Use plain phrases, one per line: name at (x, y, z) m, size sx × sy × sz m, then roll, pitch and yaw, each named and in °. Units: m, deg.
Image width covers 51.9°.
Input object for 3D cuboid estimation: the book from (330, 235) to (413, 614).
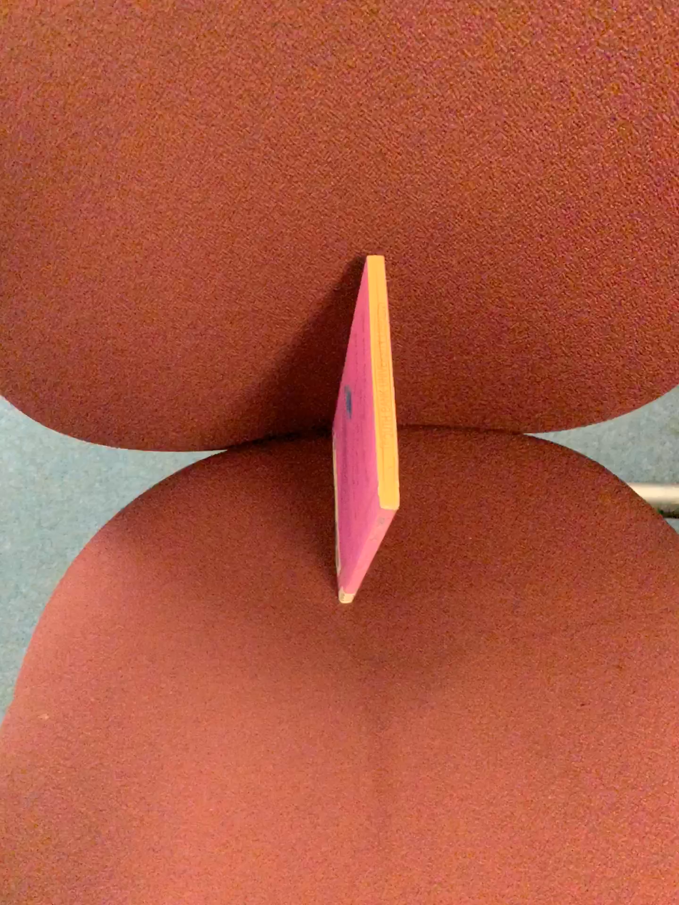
book at (0.011, 0.000, 0.390) m, size 0.017 × 0.189 × 0.141 m, roll 1°, pitch 65°, yaw -5°
